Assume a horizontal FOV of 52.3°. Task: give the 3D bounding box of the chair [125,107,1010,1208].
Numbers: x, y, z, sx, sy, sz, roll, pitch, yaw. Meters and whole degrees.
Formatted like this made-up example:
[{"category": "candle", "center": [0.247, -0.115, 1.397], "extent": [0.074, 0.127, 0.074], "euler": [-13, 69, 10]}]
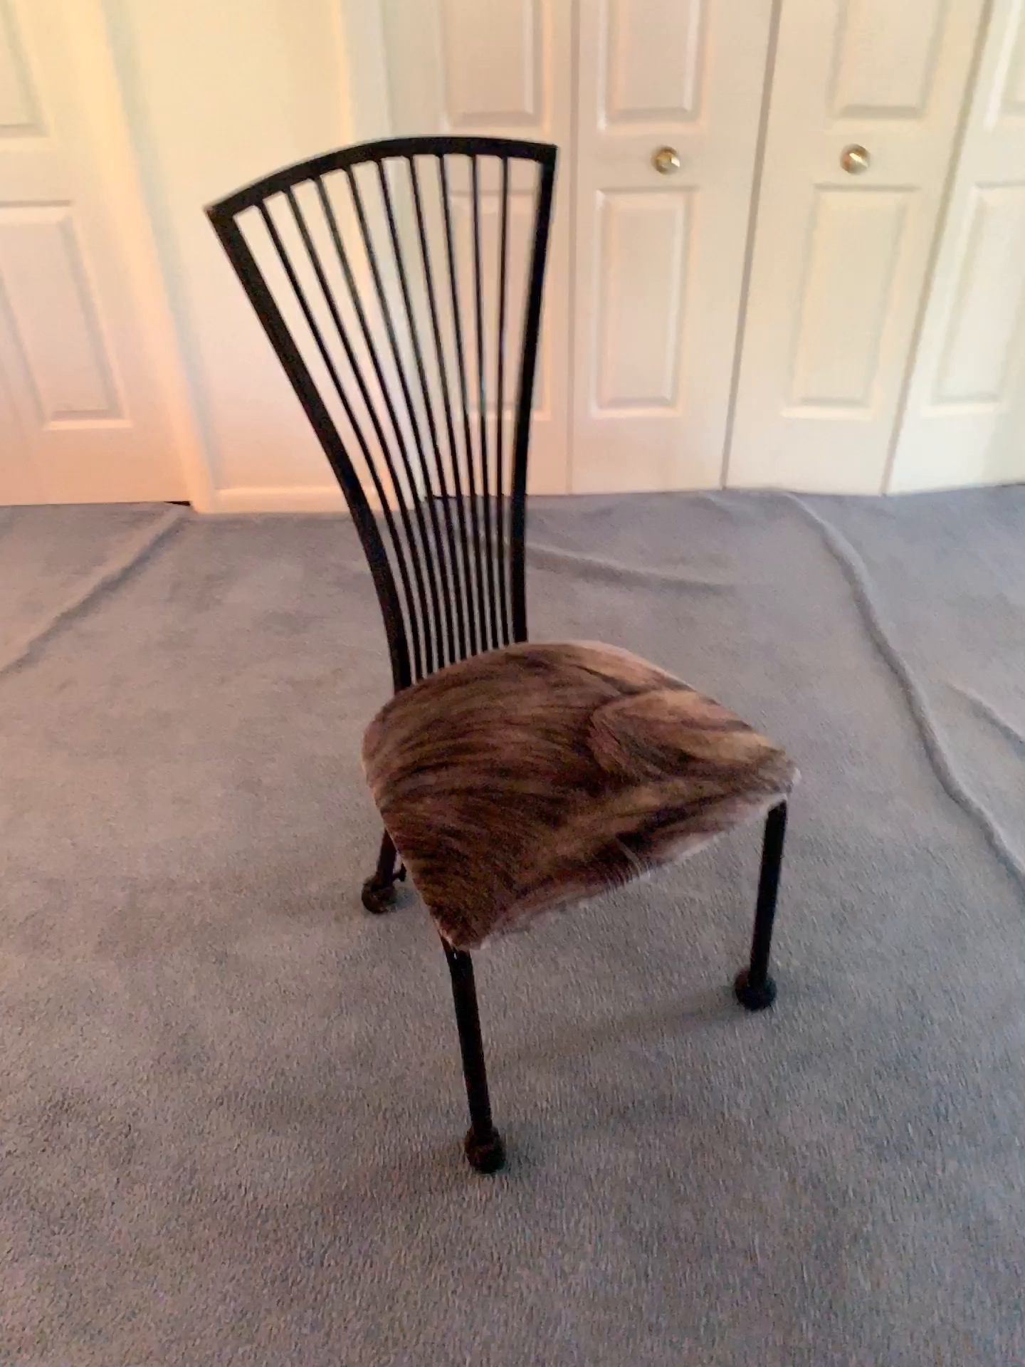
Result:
[{"category": "chair", "center": [0.024, -0.024, 1.161], "extent": [0.511, 0.974, 0.542], "euler": [-23, 43, -25]}]
